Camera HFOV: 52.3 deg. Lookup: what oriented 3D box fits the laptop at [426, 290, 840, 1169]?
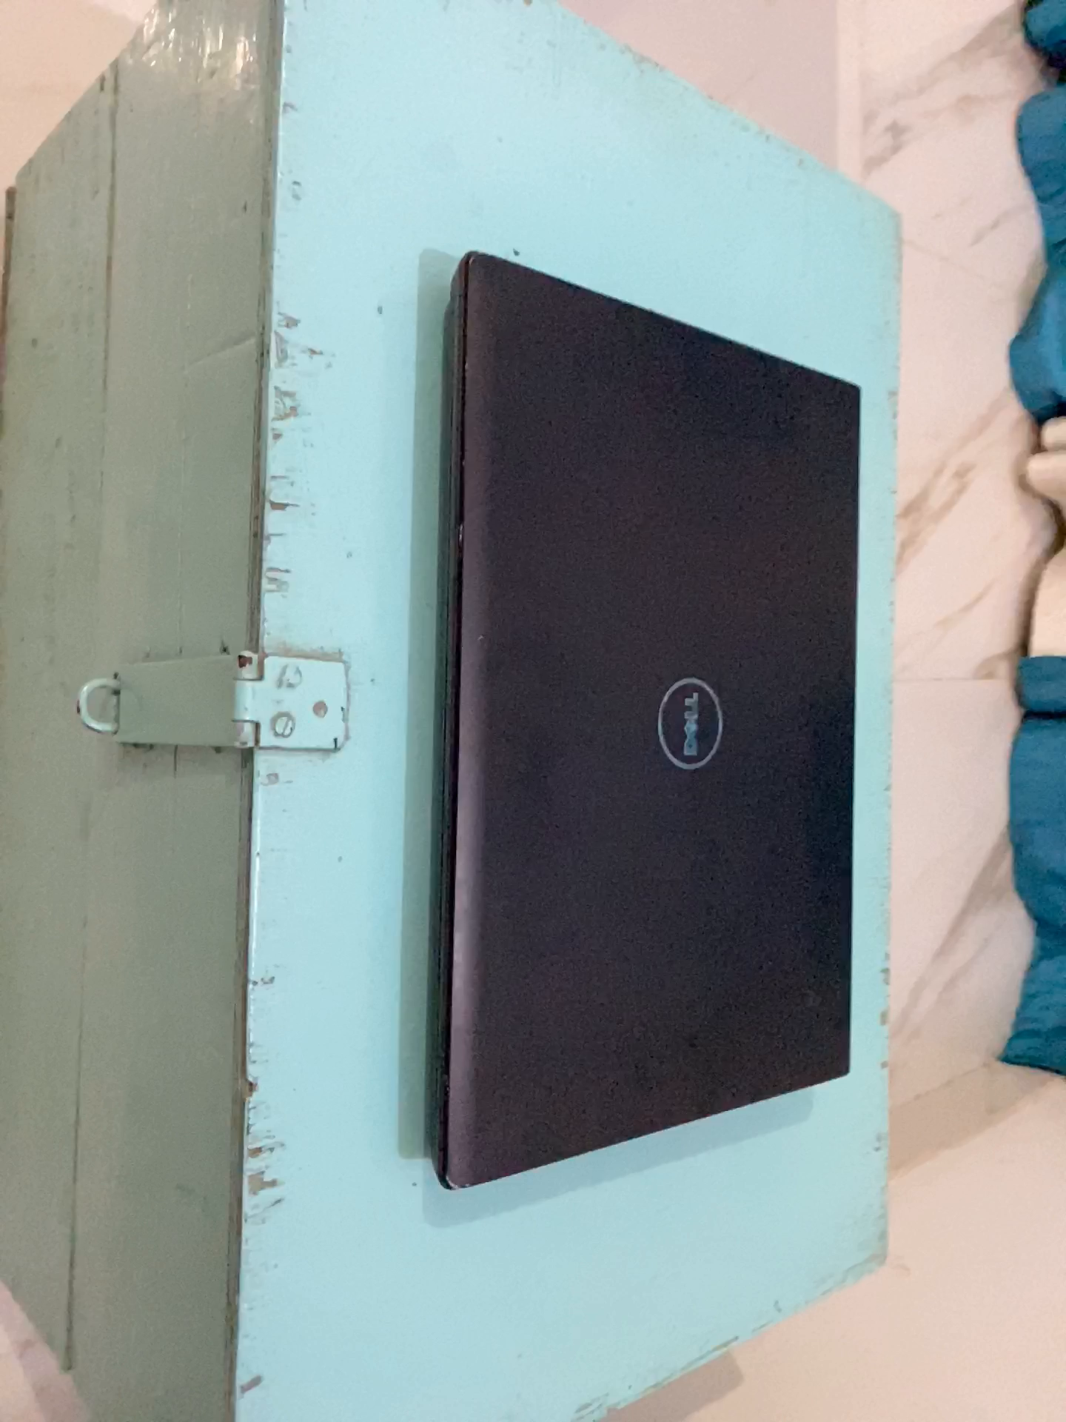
[{"bbox_3d":[0.069,0.008,0.559,0.271,0.004,0.384,3,88,-38],"label":"laptop"}]
